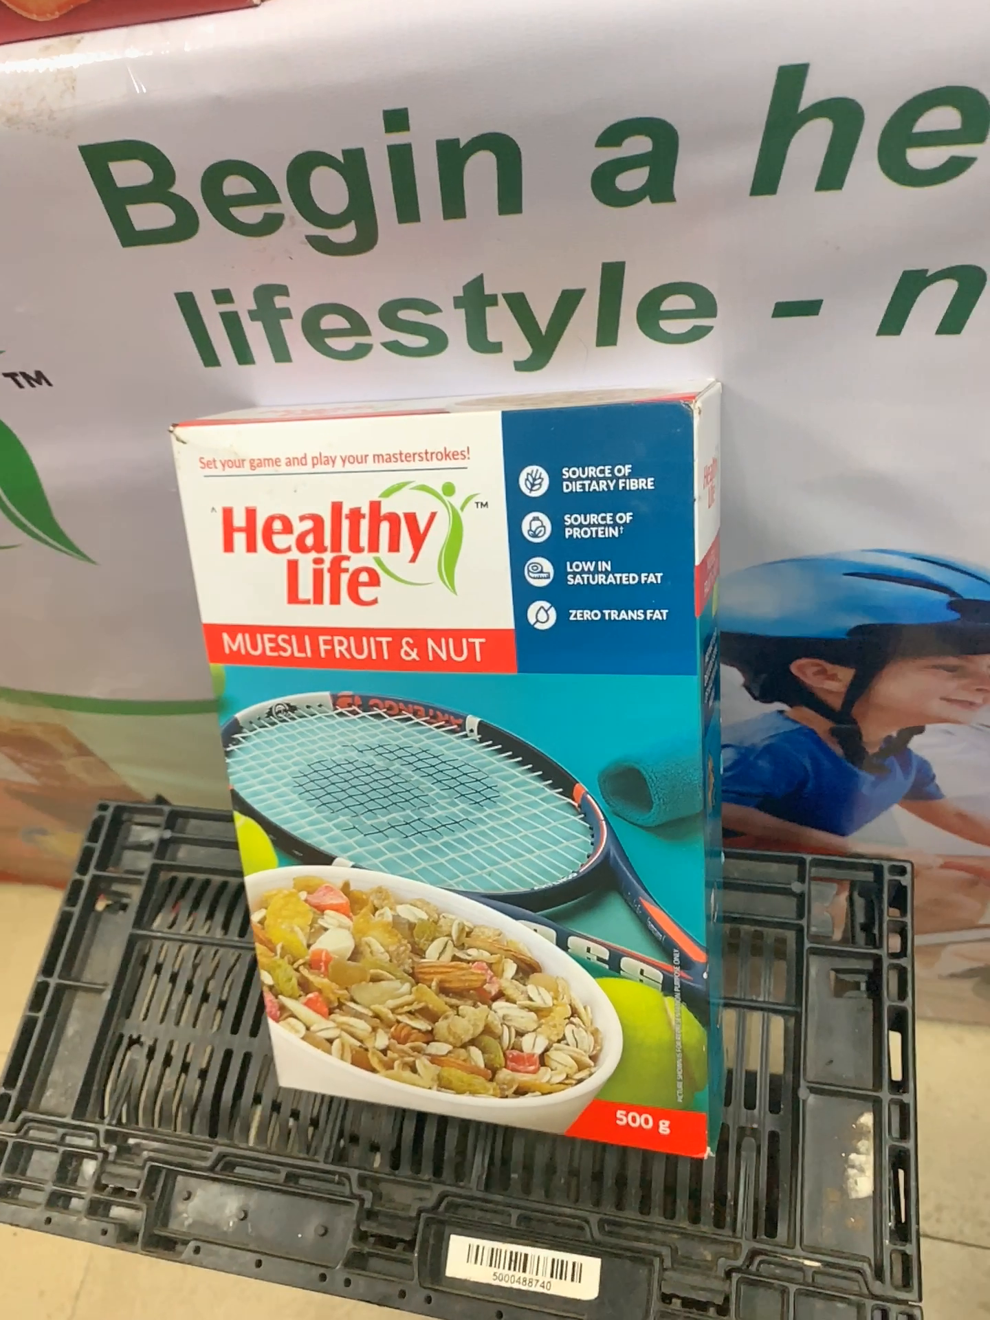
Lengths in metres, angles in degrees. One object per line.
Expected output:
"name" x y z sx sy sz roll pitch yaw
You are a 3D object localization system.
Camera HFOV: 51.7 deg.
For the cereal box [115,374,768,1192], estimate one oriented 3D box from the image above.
"cereal box" -0.007 0.039 0.352 0.190 0.250 0.070 1 18 18
